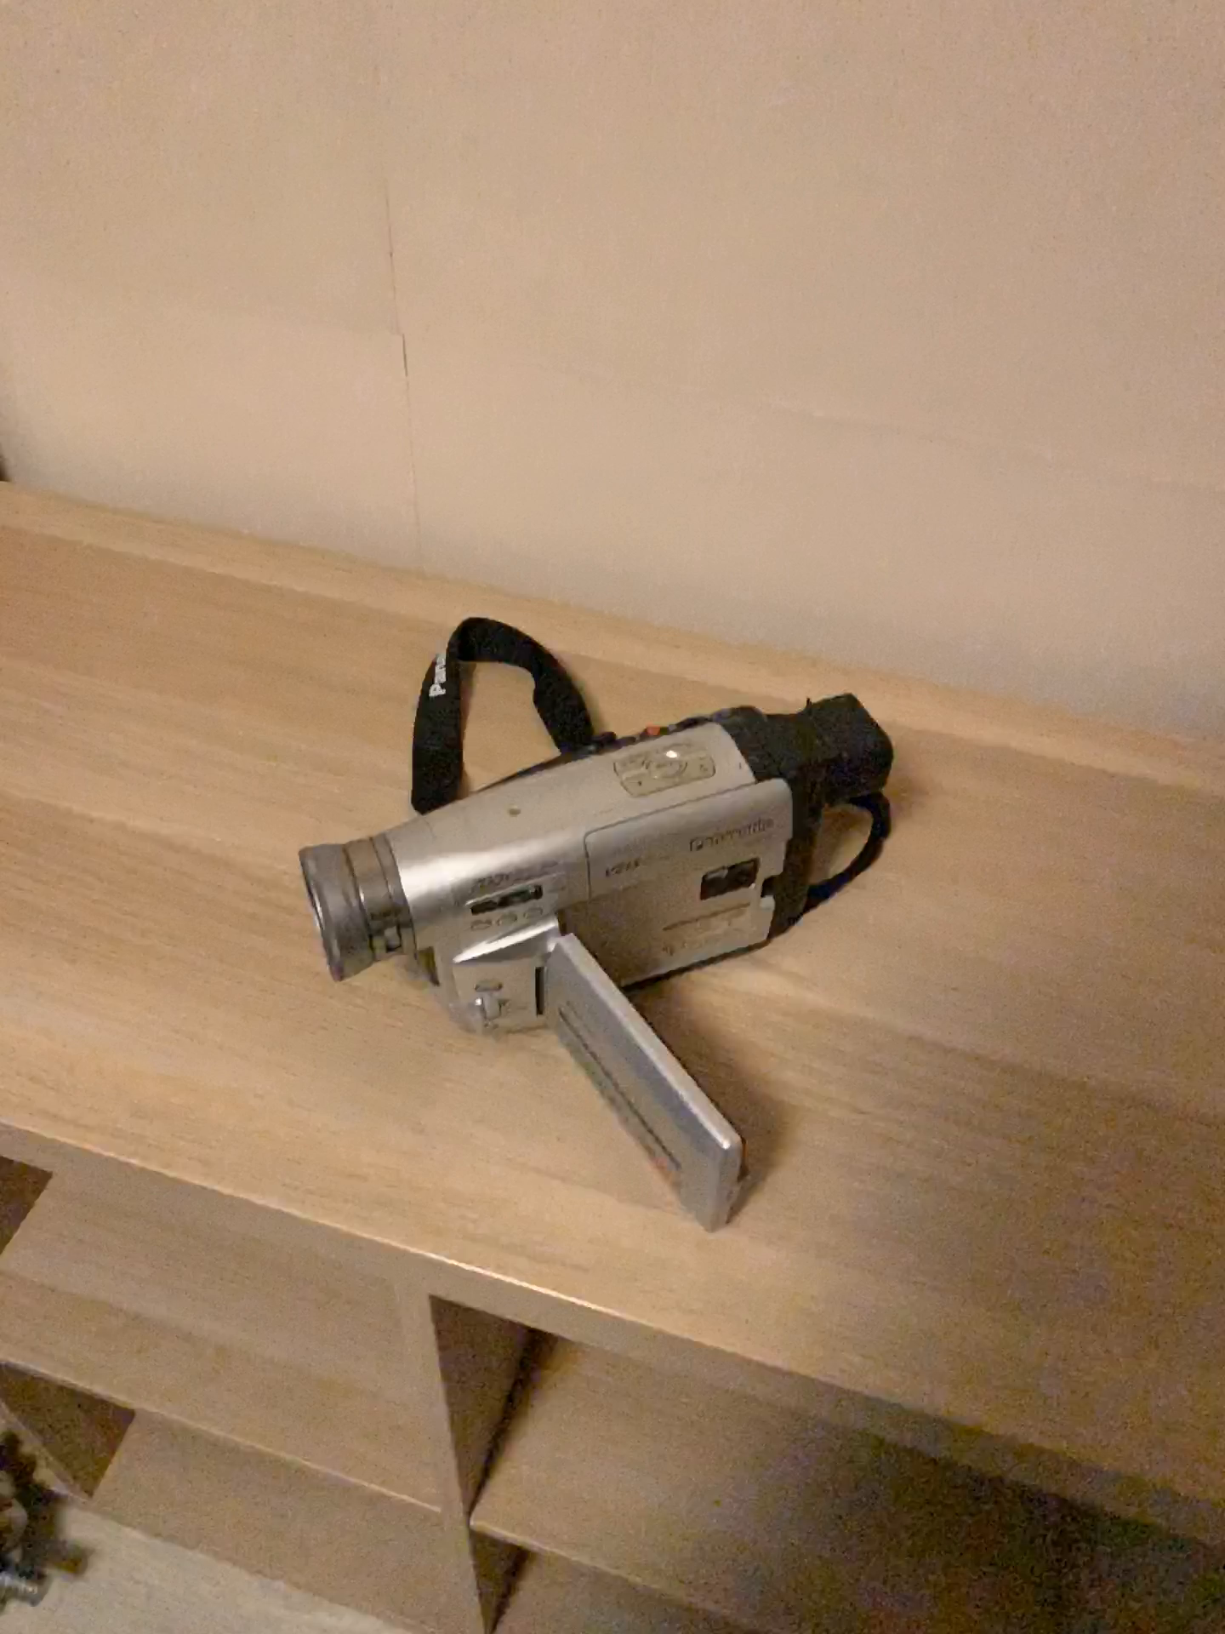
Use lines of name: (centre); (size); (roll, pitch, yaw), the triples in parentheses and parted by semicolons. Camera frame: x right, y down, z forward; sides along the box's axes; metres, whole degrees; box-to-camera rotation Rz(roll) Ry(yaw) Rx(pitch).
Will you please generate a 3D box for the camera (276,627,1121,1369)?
camera: (0.020, 0.053, 0.498); (0.246, 0.109, 0.204); (-16, 48, -18)
